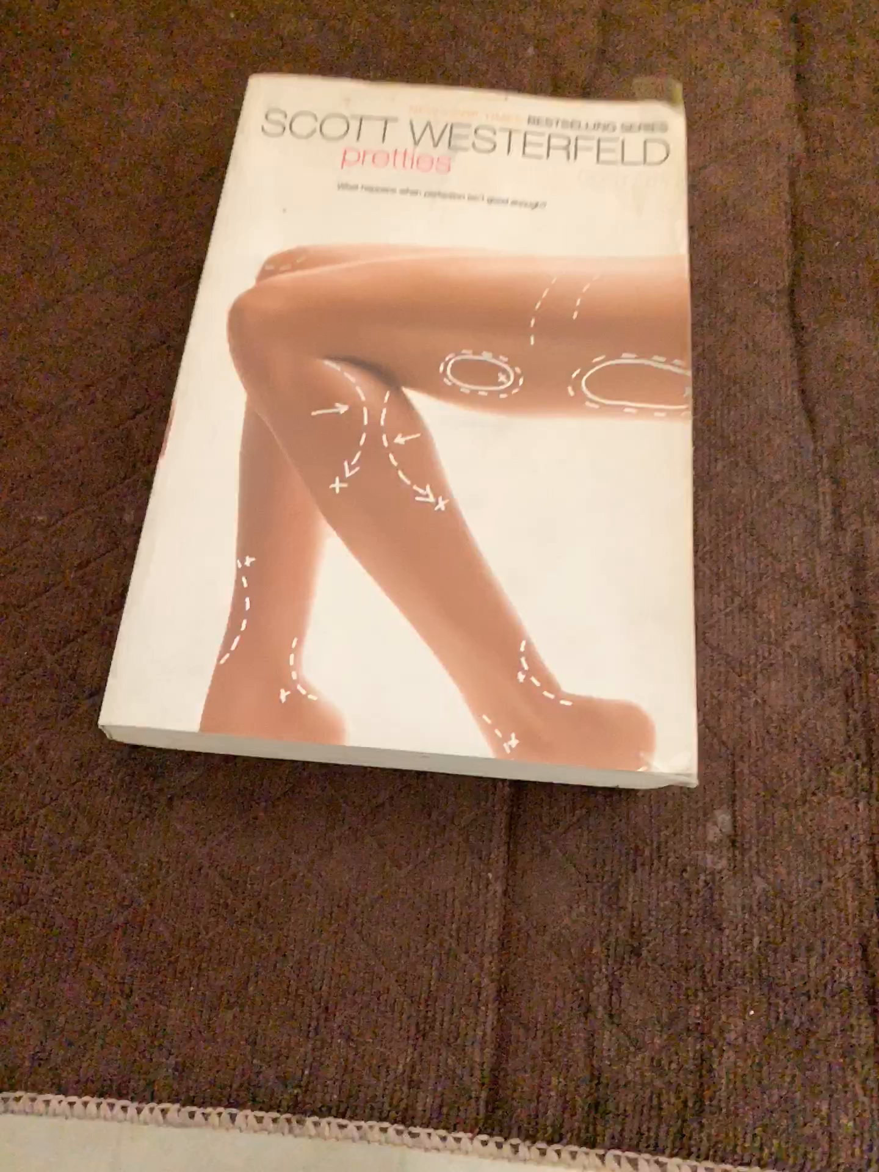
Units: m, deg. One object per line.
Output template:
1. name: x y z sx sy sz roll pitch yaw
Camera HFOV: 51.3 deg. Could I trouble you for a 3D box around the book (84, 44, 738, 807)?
1. book: 0.003 -0.058 0.263 0.150 0.030 0.221 5 69 2
